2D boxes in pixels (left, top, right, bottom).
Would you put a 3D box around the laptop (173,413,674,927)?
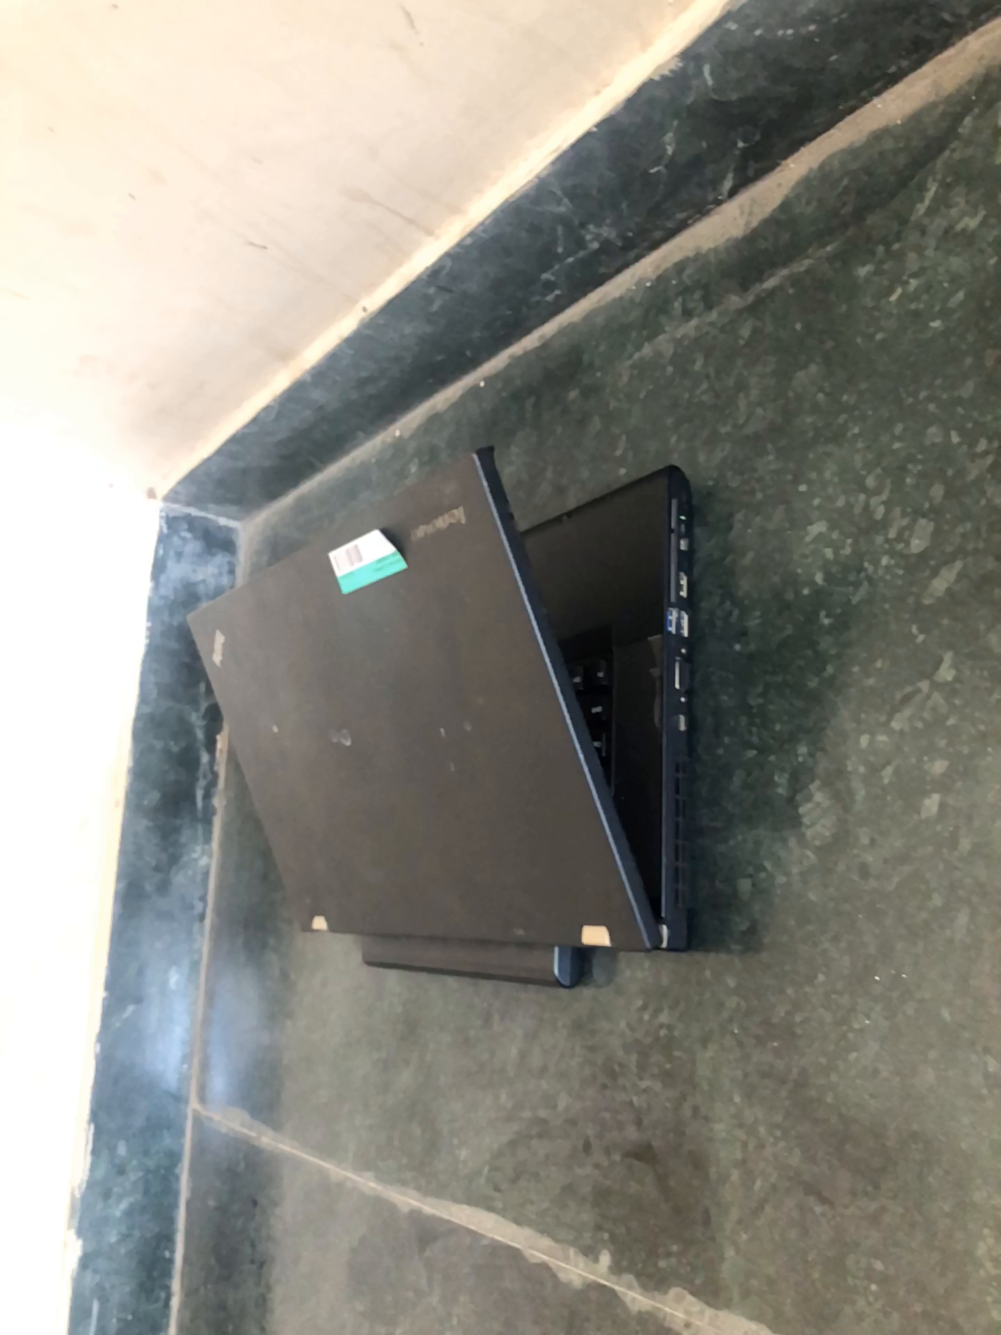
[{"bbox_3d":[-0.064,0.029,0.640,0.350,0.094,0.227,-15,67,52],"label":"laptop"}]
